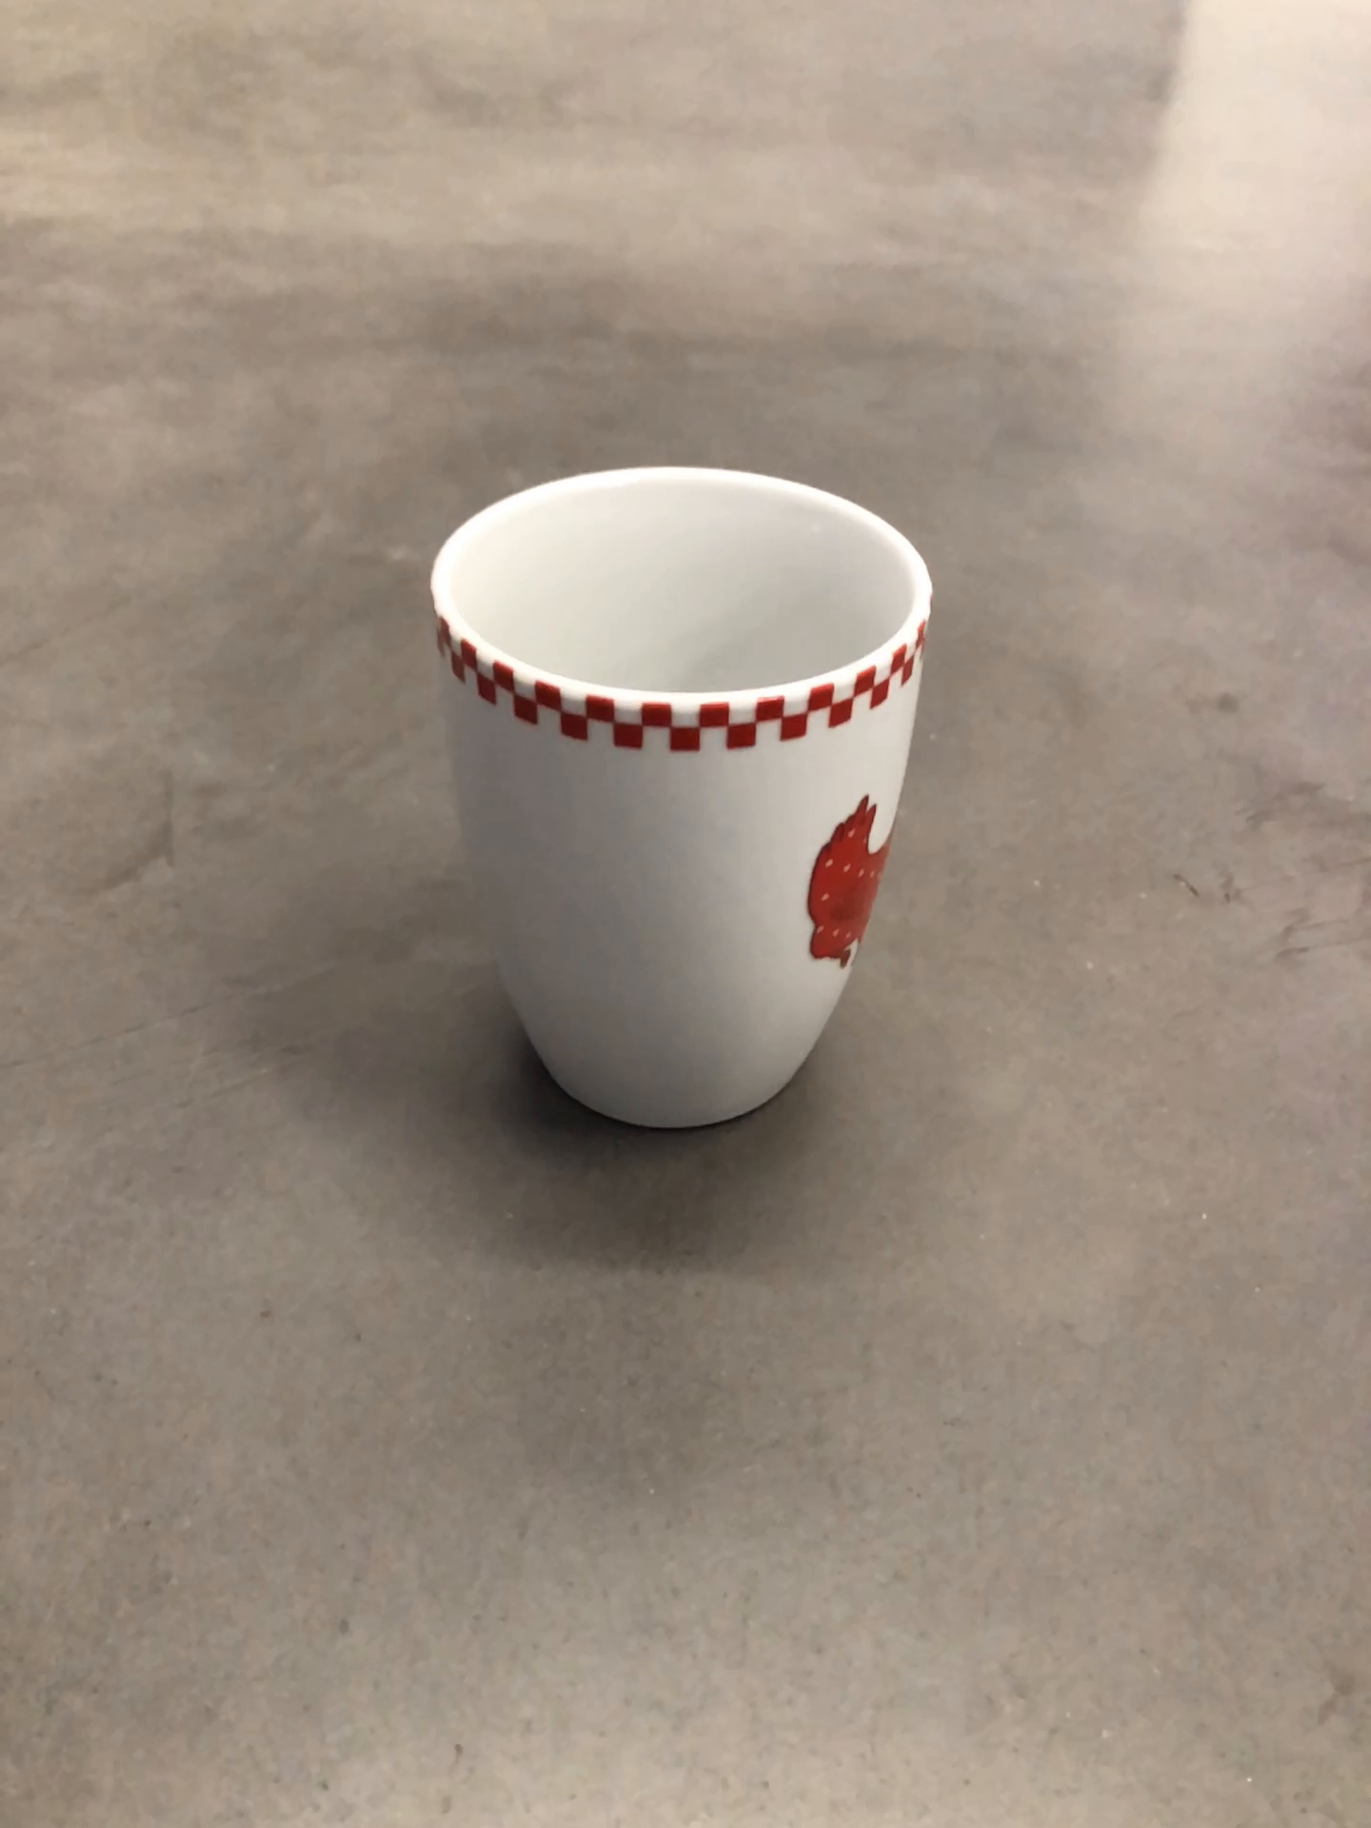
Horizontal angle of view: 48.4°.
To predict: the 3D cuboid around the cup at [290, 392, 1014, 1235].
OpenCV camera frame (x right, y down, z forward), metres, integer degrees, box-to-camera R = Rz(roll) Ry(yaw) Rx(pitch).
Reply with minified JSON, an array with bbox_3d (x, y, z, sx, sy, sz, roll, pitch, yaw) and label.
[{"bbox_3d":[0.001,-0.023,0.269,0.087,0.092,0.103,11,41,11],"label":"cup"}]
